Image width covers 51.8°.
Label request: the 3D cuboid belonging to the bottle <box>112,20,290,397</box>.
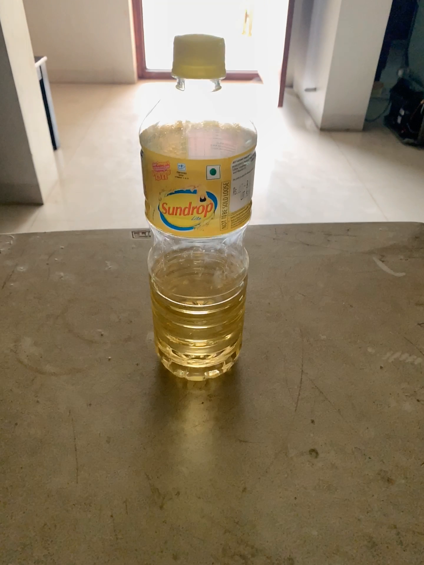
[{"bbox_3d":[-0.003,-0.038,0.337,0.090,0.269,0.090,1,38,-1],"label":"bottle"}]
